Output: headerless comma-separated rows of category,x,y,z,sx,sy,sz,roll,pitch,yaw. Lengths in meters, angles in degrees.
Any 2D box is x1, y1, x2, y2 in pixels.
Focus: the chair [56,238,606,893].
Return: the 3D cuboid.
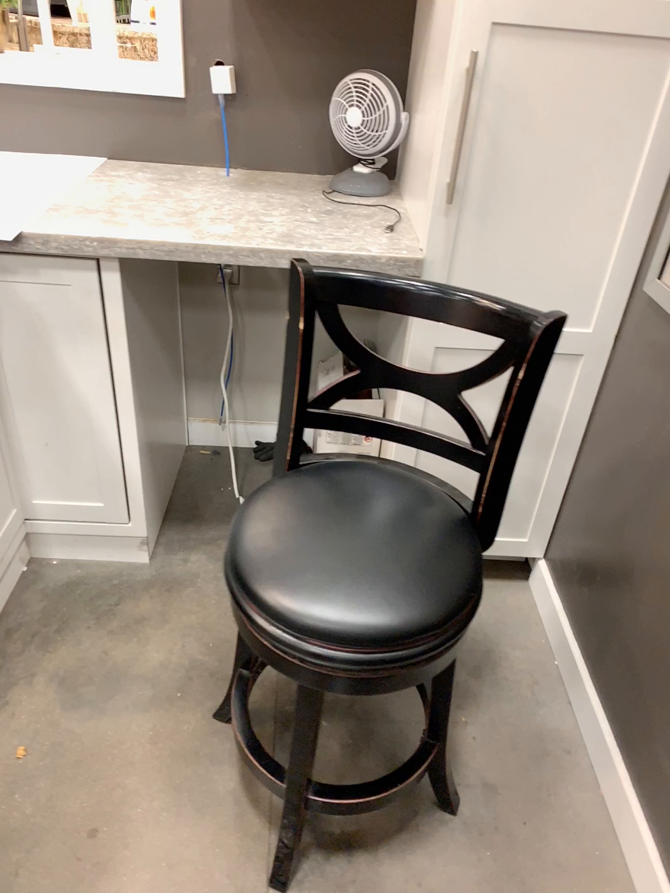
chair,0.031,0.230,1.148,0.558,0.912,0.607,15,35,14
